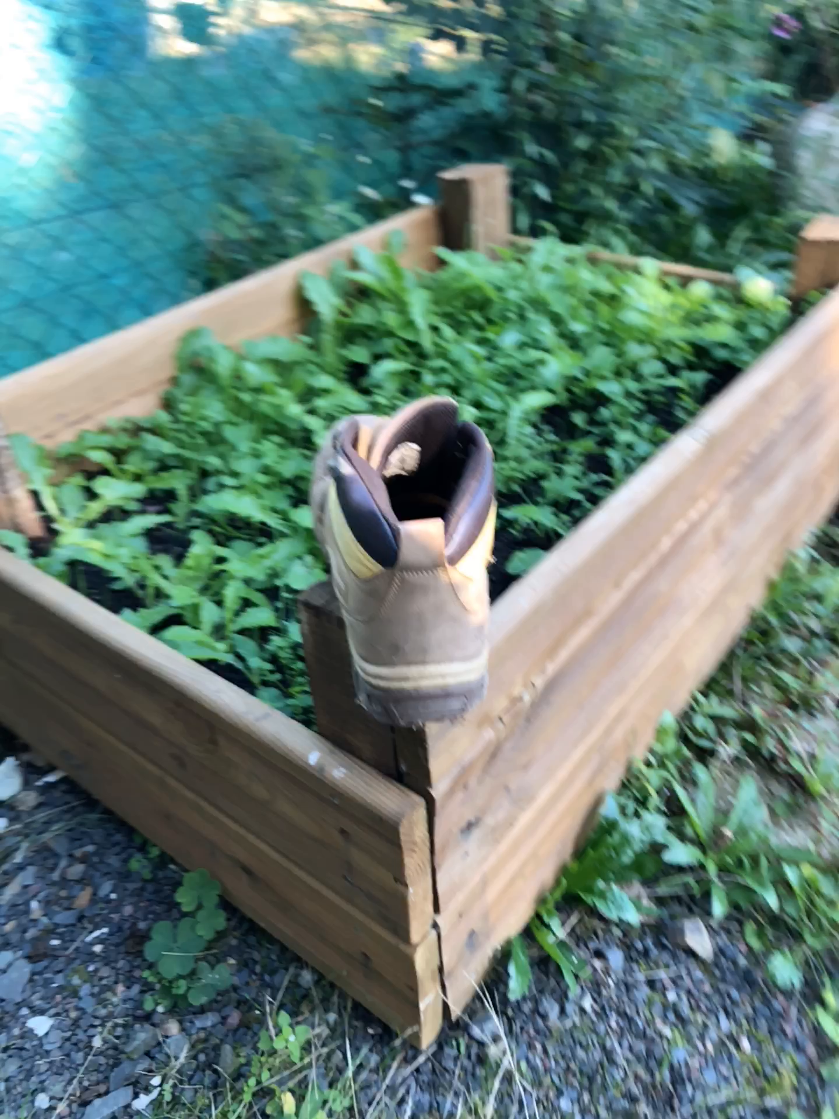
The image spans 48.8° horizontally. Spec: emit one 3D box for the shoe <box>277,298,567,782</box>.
[{"bbox_3d":[-0.013,-0.031,0.565,0.100,0.149,0.281,-9,38,-10],"label":"shoe"}]
